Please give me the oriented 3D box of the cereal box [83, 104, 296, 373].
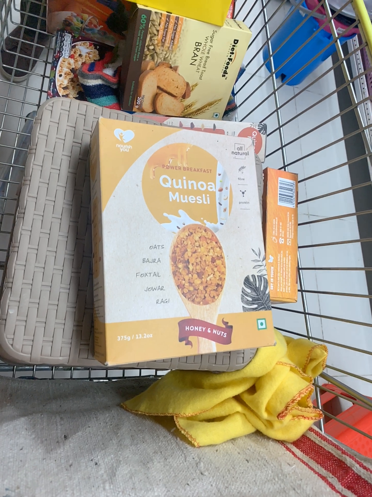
[{"bbox_3d":[-0.003,-0.006,0.343,0.160,0.080,0.200,0,79,-23],"label":"cereal box"}]
